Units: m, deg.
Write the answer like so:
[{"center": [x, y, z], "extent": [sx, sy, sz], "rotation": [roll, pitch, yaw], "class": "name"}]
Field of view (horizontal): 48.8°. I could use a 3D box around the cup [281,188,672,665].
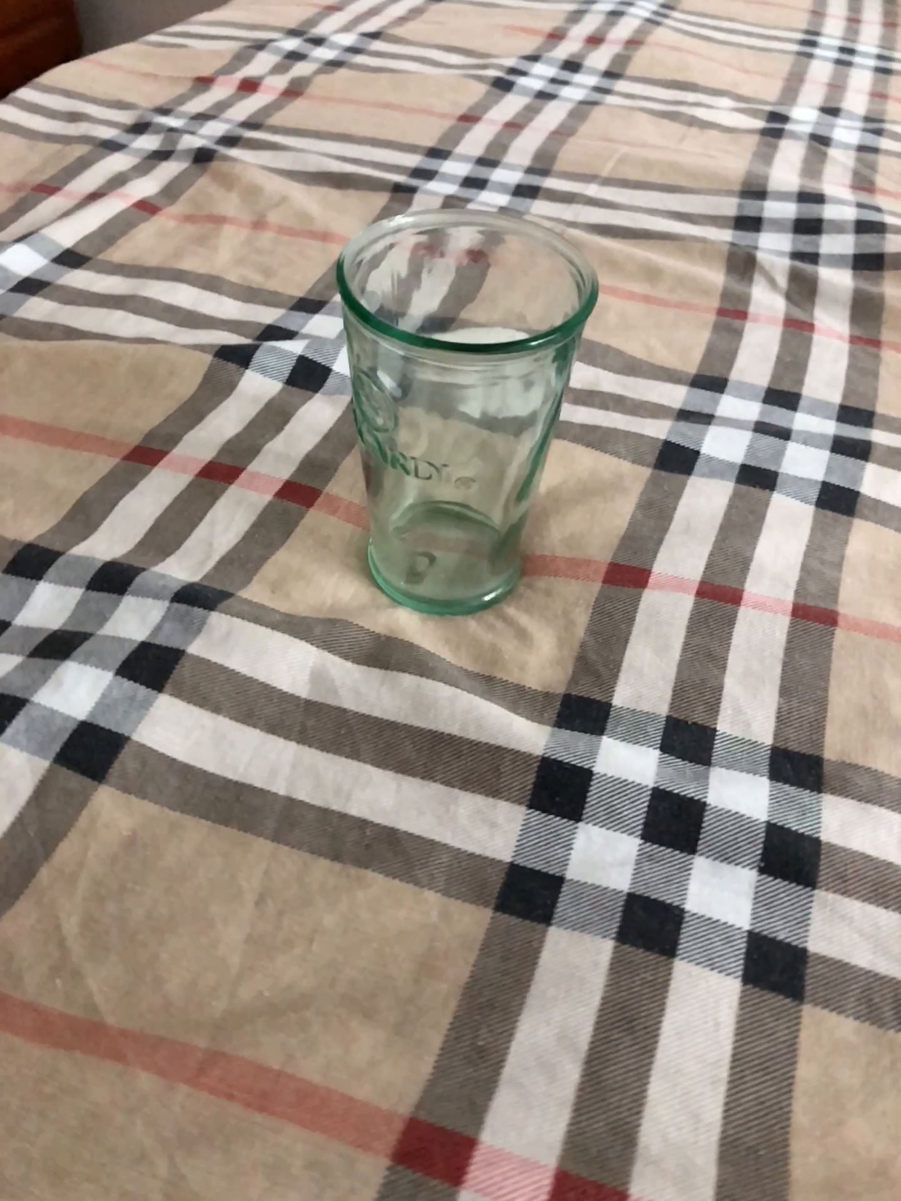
[{"center": [0.003, -0.059, 0.333], "extent": [0.082, 0.112, 0.085], "rotation": [3, 44, -3], "class": "cup"}]
